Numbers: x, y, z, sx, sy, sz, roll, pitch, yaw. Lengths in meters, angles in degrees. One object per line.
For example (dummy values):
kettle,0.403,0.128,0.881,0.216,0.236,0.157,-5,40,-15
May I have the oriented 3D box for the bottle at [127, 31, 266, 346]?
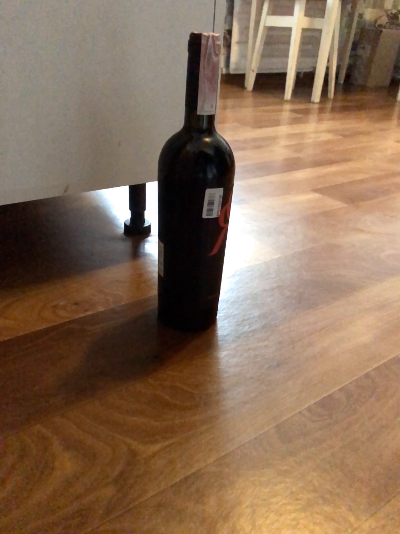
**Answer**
bottle,-0.012,-0.074,0.458,0.090,0.297,0.090,2,28,-1
